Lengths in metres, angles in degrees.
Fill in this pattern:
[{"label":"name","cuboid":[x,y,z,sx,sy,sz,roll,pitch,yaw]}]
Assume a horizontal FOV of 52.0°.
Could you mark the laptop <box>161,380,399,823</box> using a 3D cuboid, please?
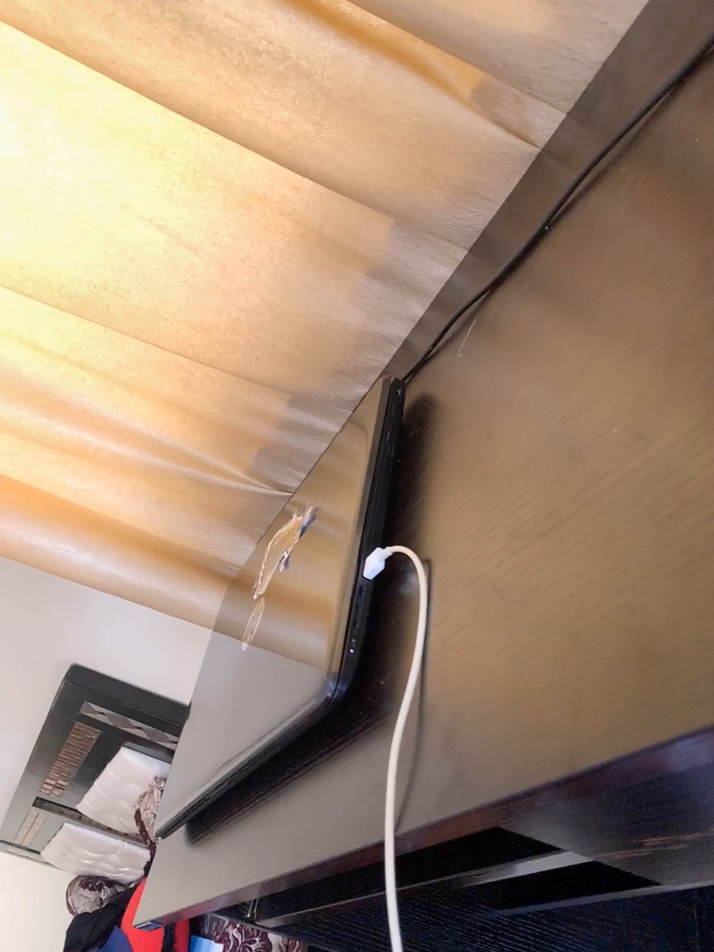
[{"label":"laptop","cuboid":[-0.071,0.118,0.583,0.374,0.006,0.237,-51,20,47]}]
